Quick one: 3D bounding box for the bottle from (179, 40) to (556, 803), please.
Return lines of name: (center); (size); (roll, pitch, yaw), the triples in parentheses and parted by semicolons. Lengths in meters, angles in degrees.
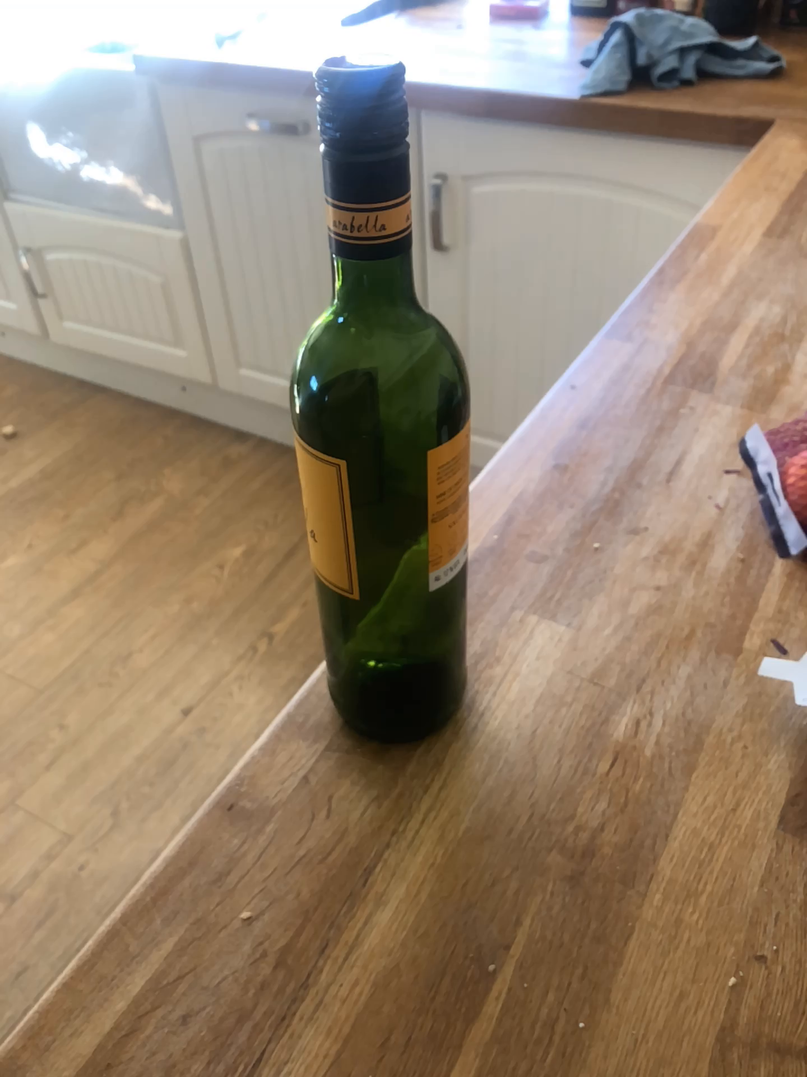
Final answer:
bottle: (0.000, -0.027, 0.370); (0.090, 0.298, 0.091); (-2, 39, 2)
